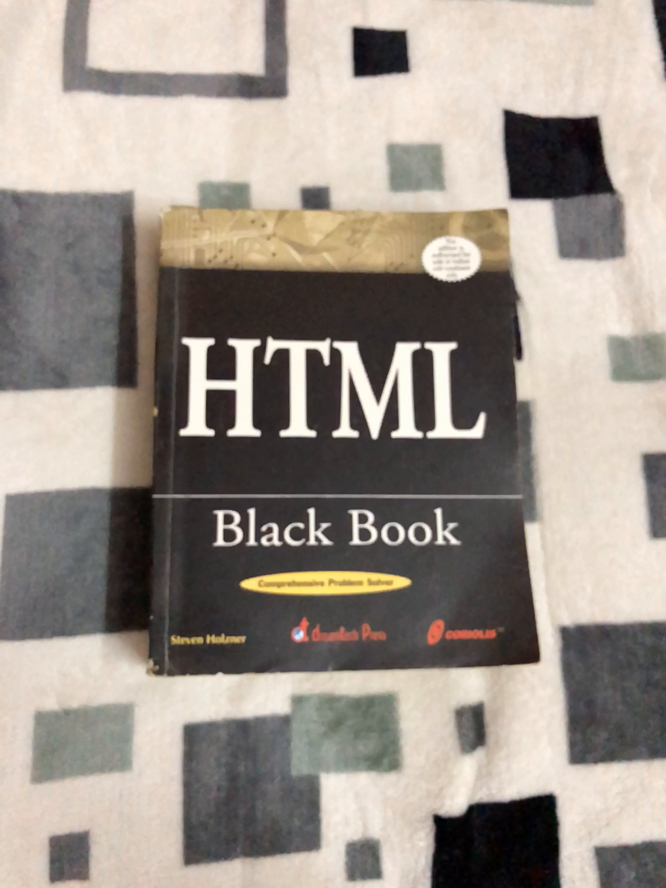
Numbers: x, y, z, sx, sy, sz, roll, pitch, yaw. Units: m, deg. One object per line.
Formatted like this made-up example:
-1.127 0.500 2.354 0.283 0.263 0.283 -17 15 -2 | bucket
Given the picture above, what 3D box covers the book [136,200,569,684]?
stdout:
0.005 -0.003 0.386 0.190 0.070 0.230 -1 77 -5 | book
